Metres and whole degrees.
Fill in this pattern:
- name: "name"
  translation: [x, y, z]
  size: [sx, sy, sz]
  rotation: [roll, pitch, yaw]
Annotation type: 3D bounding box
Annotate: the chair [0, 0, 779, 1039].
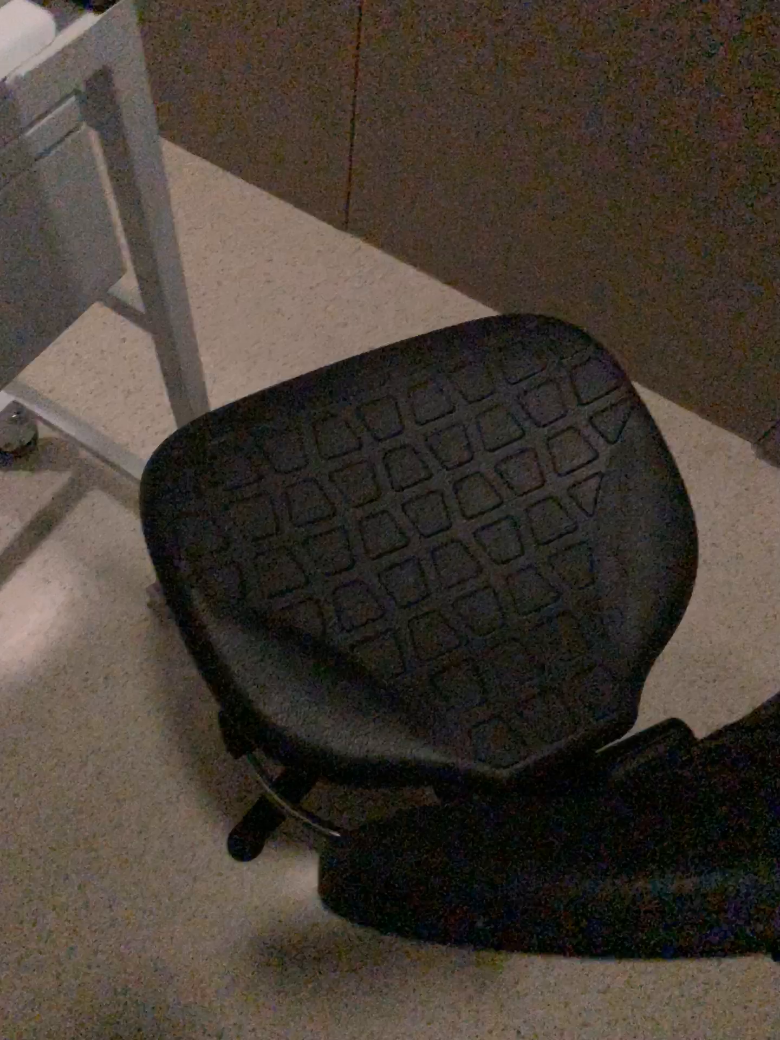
- name: "chair"
  translation: [0.077, 0.019, 0.708]
  size: [0.621, 0.935, 0.672]
  rotation: [-21, 69, -15]
